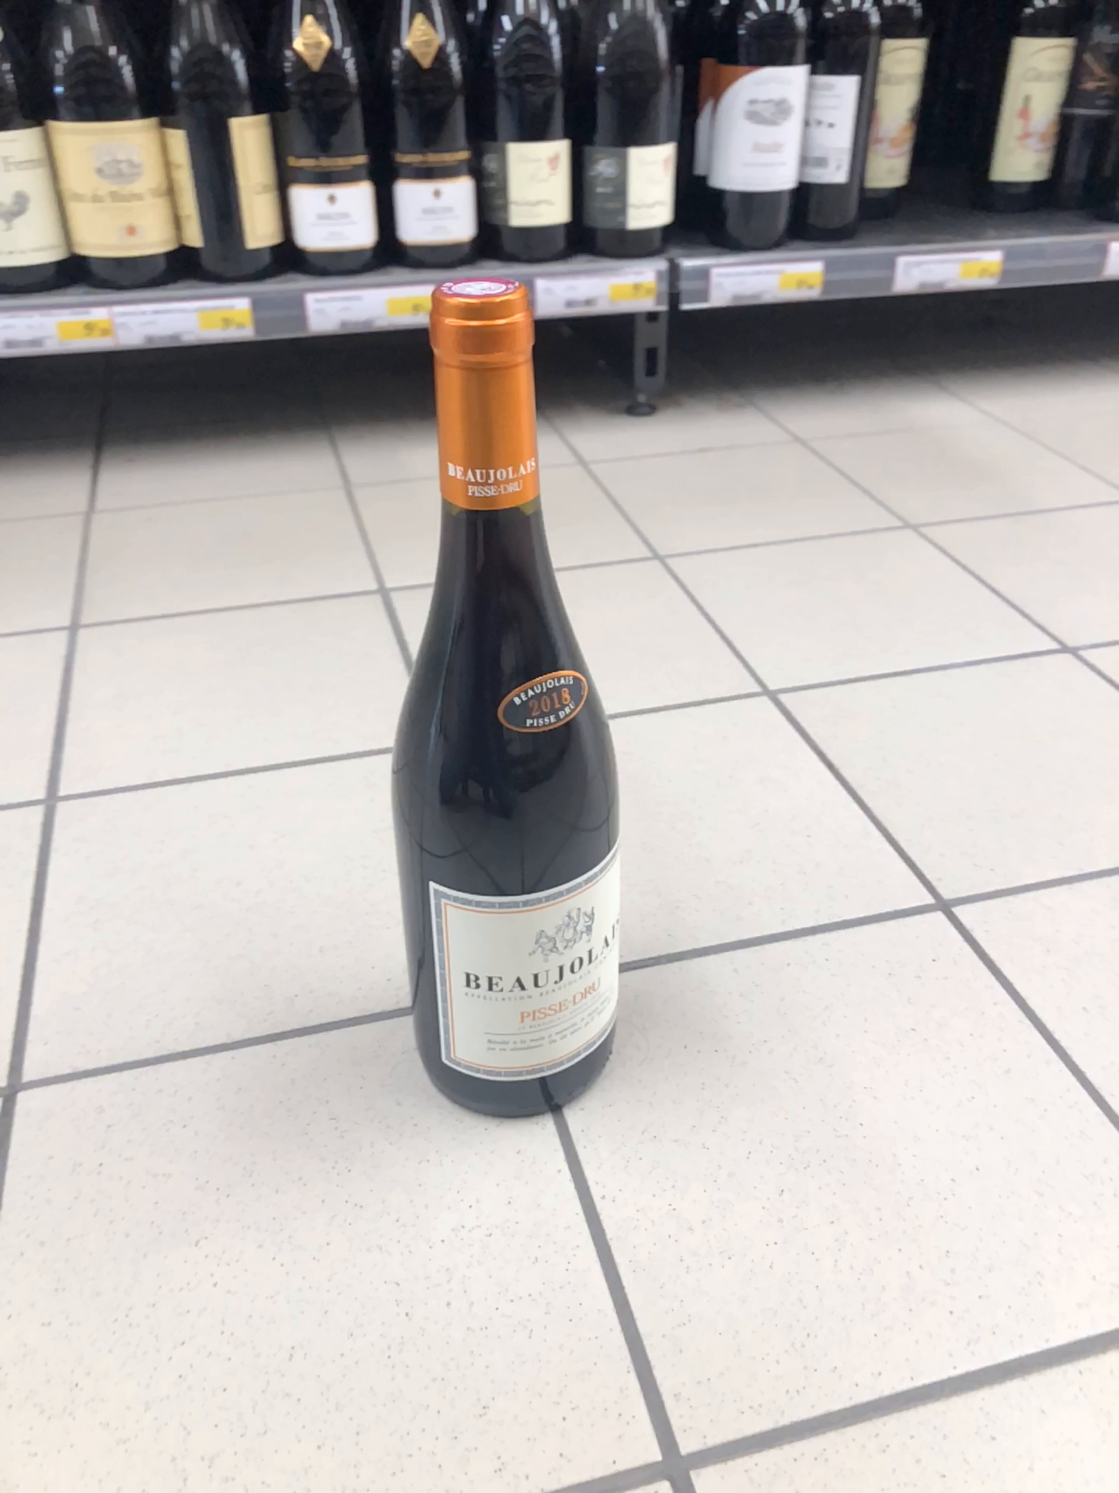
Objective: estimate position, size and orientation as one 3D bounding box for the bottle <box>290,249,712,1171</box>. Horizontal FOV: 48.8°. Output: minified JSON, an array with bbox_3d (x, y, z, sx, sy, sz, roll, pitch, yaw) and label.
[{"bbox_3d":[-0.019,-0.003,0.415,0.090,0.288,0.090,0,31,0],"label":"bottle"}]
